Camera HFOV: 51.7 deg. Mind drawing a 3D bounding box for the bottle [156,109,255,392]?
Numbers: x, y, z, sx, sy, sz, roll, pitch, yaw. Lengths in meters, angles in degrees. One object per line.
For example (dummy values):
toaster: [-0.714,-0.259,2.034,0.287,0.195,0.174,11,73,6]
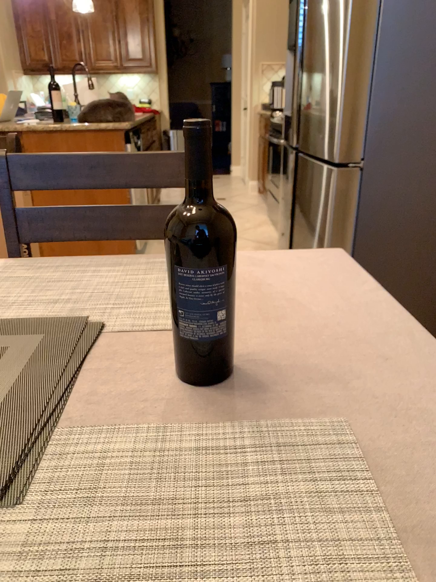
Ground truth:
bottle: [-0.014,-0.041,0.506,0.090,0.299,0.090,-1,23,0]
